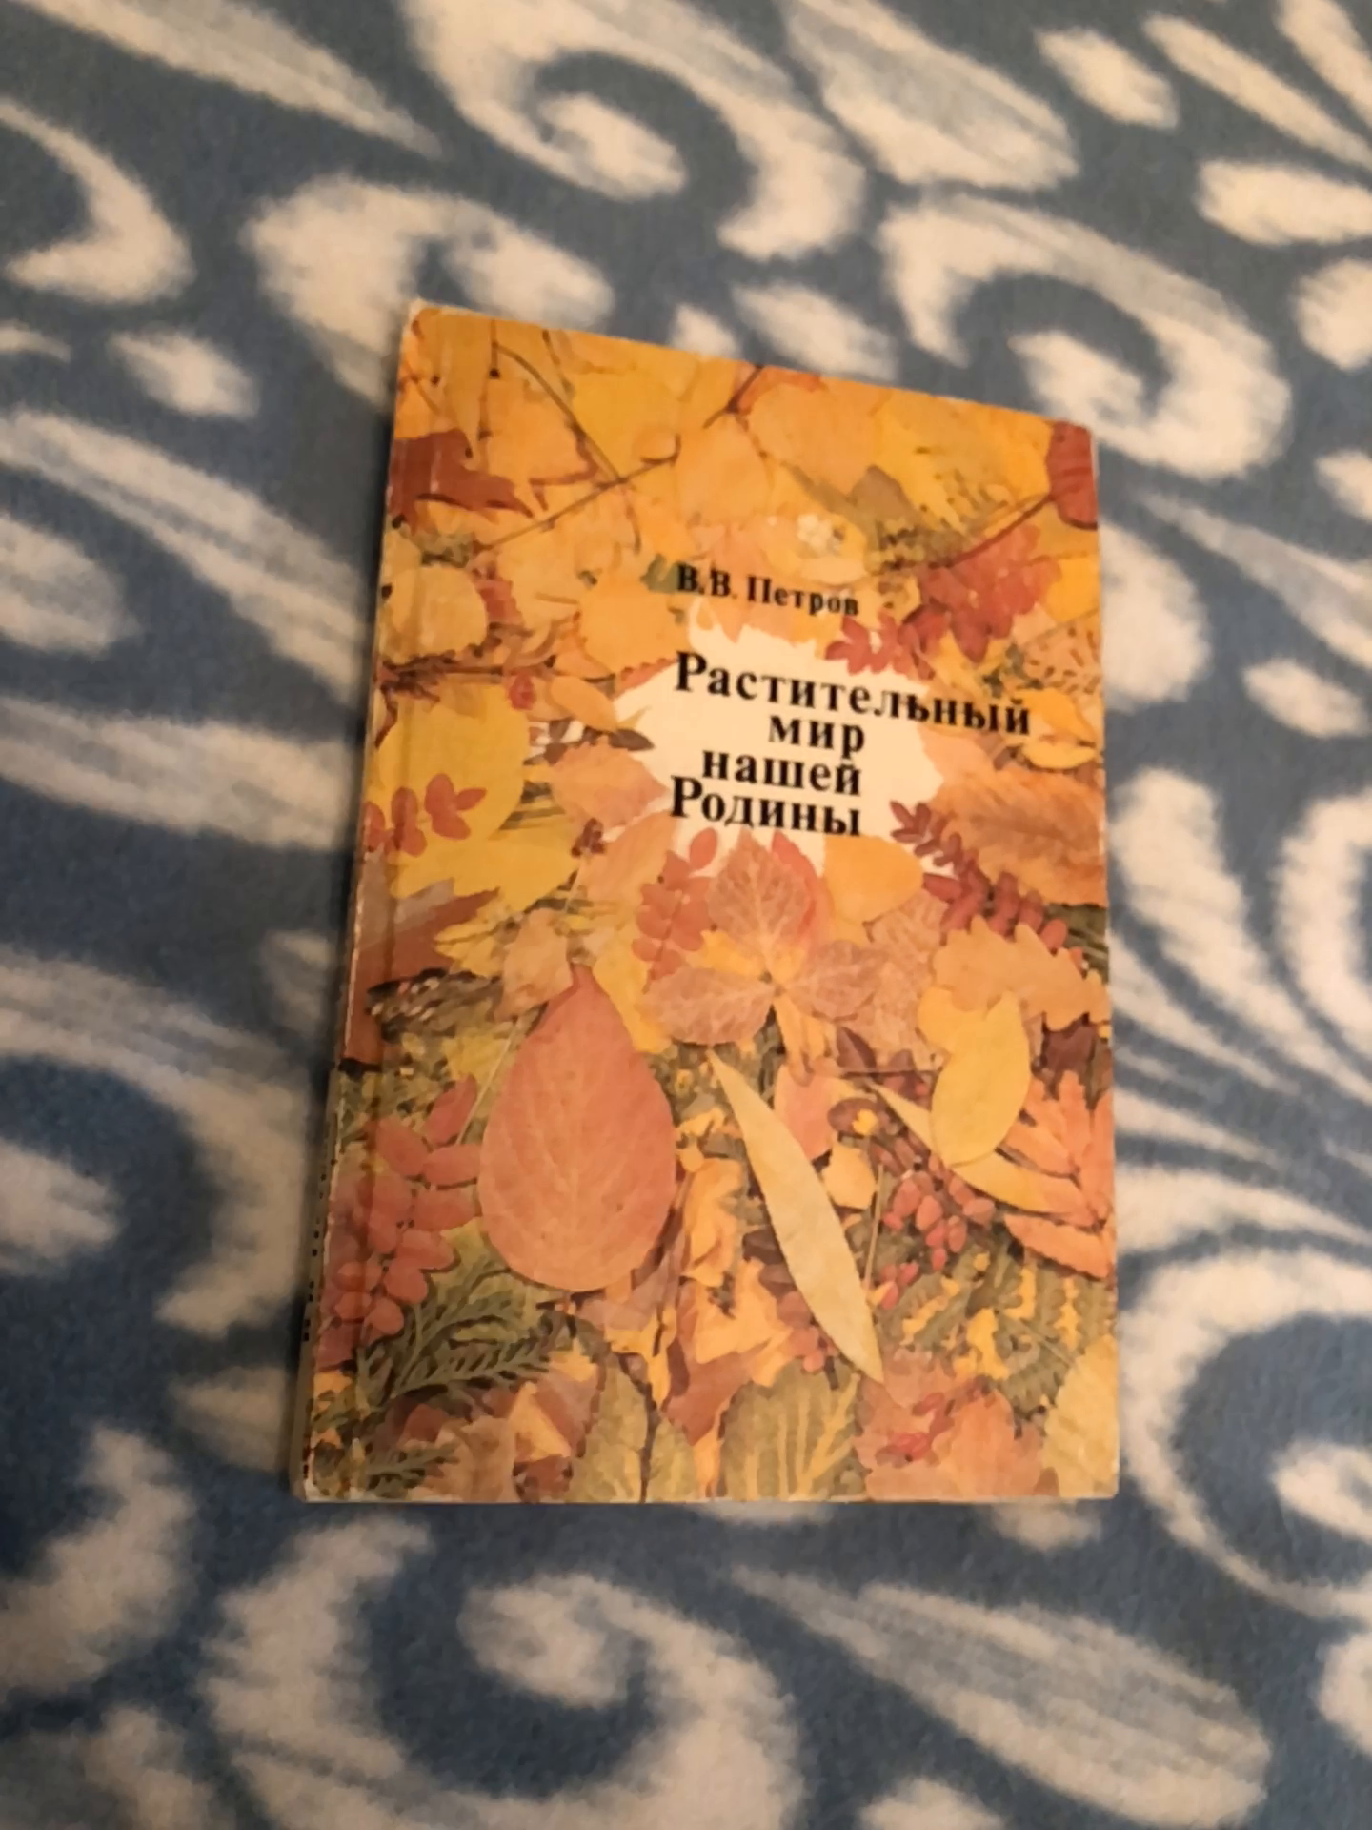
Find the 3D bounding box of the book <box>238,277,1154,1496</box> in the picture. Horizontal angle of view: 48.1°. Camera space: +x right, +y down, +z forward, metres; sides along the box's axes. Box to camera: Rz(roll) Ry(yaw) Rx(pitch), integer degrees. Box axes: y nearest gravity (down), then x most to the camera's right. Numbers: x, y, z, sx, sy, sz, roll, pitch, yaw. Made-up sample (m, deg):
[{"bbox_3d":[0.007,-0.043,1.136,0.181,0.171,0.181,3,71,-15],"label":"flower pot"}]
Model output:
[{"bbox_3d":[0.009,-0.004,0.285,0.157,0.020,0.208,6,77,-16],"label":"book"}]
